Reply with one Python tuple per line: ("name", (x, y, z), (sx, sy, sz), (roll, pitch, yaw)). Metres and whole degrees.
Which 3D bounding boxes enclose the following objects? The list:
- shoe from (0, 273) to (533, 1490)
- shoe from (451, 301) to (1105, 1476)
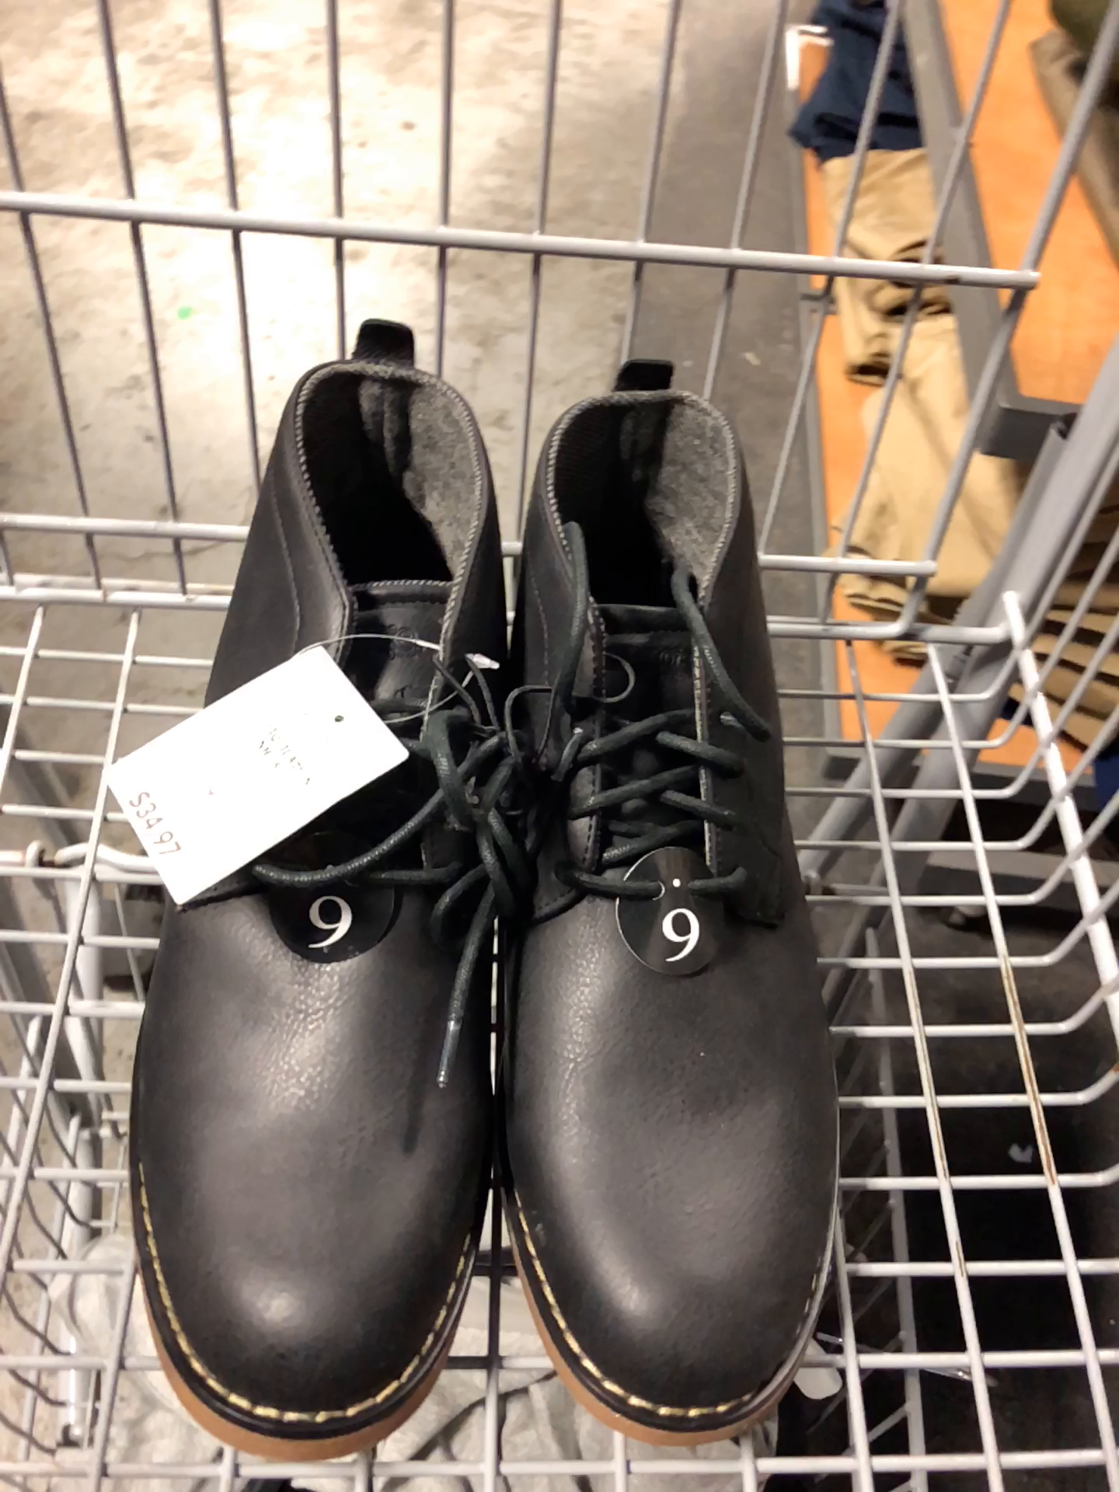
("shoe", (-0.066, 0.042, 0.335), (0.100, 0.199, 0.262), (3, 55, -5))
("shoe", (0.028, 0.045, 0.356), (0.100, 0.199, 0.272), (3, 55, -5))
